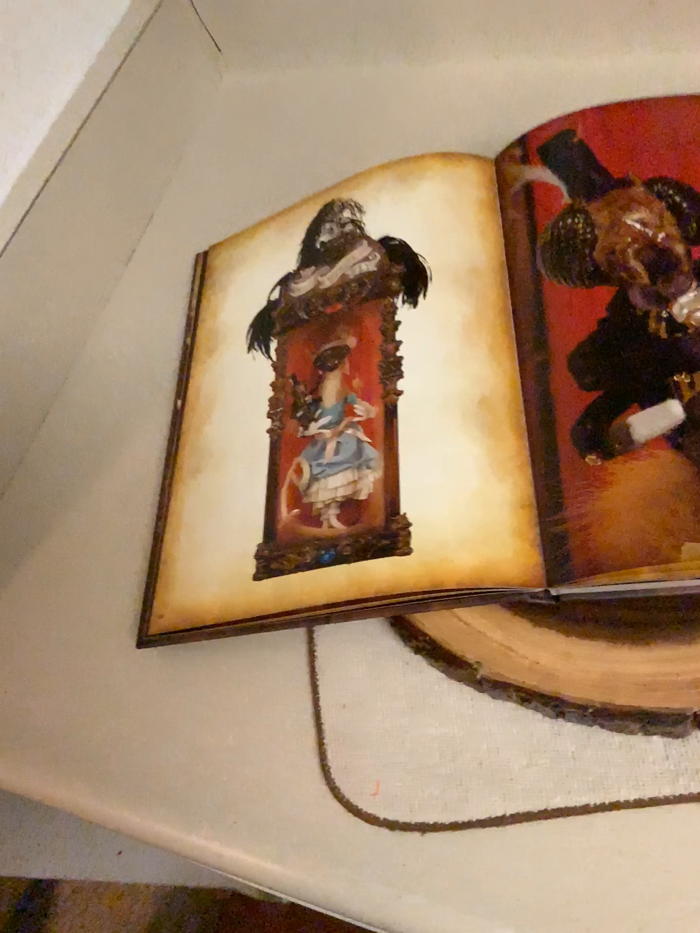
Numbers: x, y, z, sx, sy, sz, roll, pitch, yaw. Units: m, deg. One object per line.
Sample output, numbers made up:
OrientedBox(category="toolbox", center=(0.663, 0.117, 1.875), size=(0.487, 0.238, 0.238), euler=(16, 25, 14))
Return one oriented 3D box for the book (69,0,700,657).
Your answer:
OrientedBox(category="book", center=(0.089, -0.085, 0.439), size=(0.470, 0.040, 0.340), euler=(-8, 59, 14))
